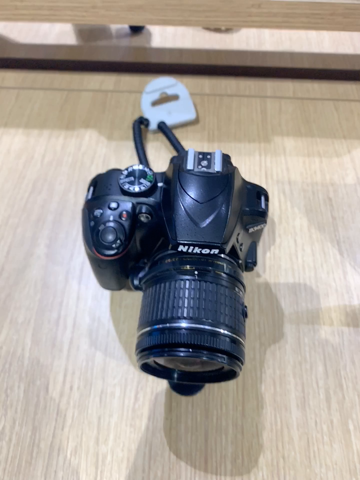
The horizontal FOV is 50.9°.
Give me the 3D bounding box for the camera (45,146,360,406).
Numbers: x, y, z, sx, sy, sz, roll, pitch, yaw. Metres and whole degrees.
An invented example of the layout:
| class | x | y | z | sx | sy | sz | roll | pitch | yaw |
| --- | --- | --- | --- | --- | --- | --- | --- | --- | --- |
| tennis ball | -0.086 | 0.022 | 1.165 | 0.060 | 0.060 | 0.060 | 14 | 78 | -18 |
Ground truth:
| class | x | y | z | sx | sy | sz | roll | pitch | yaw |
| --- | --- | --- | --- | --- | --- | --- | --- | --- | --- |
| camera | 0.009 | 0.019 | 0.190 | 0.110 | 0.073 | 0.100 | 4 | 57 | 0 |
